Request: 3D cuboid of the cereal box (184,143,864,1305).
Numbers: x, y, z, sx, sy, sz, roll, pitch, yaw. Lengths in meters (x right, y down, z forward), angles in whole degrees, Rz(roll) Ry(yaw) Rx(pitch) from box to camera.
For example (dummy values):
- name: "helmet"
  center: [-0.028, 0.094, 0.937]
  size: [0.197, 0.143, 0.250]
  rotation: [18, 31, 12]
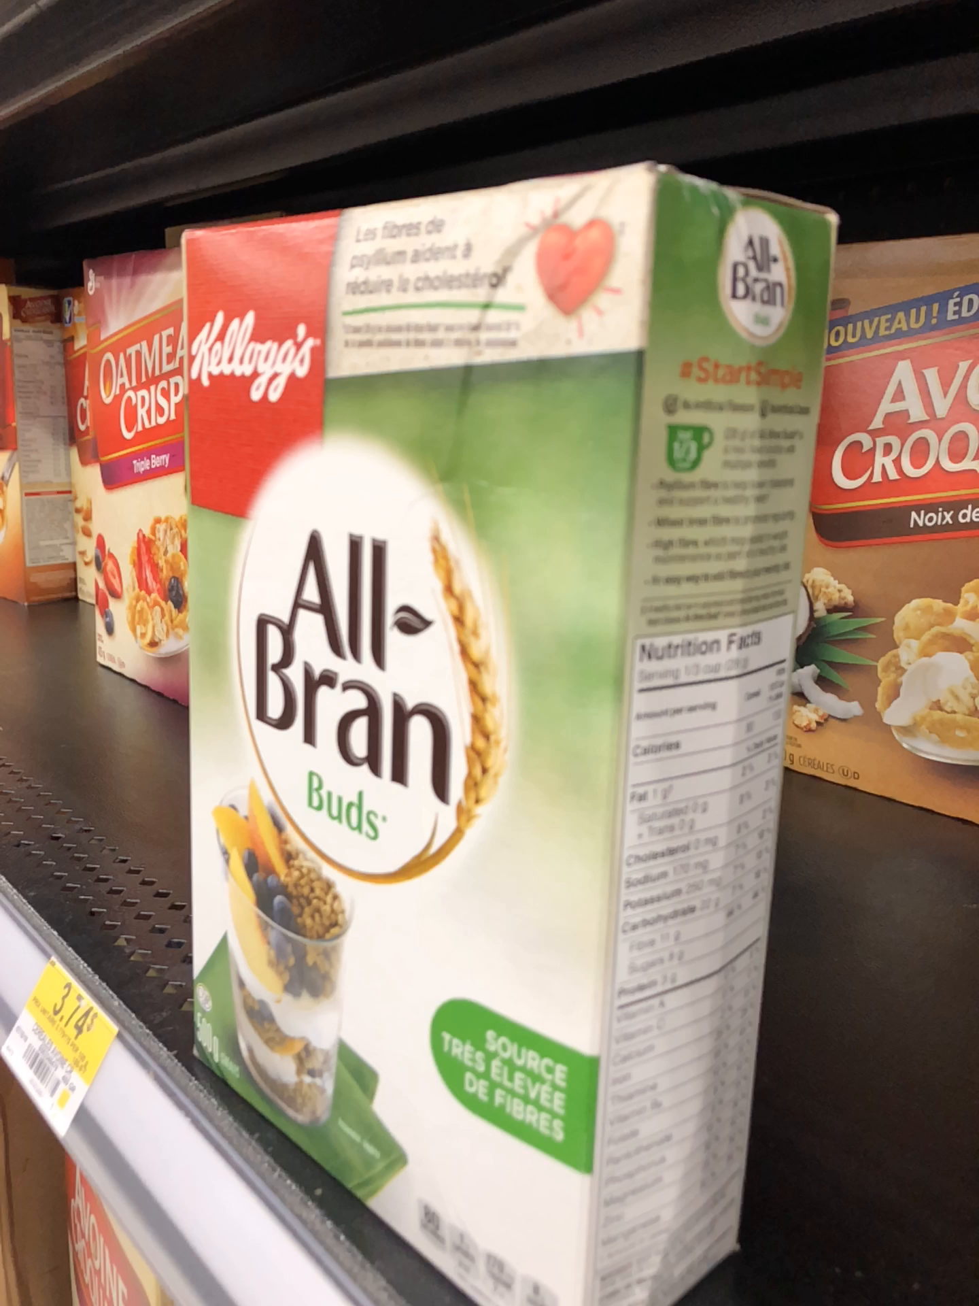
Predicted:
- name: "cereal box"
  center: [-0.006, 0.015, 0.251]
  size: [0.050, 0.219, 0.150]
  rotation: [-11, 18, -43]
